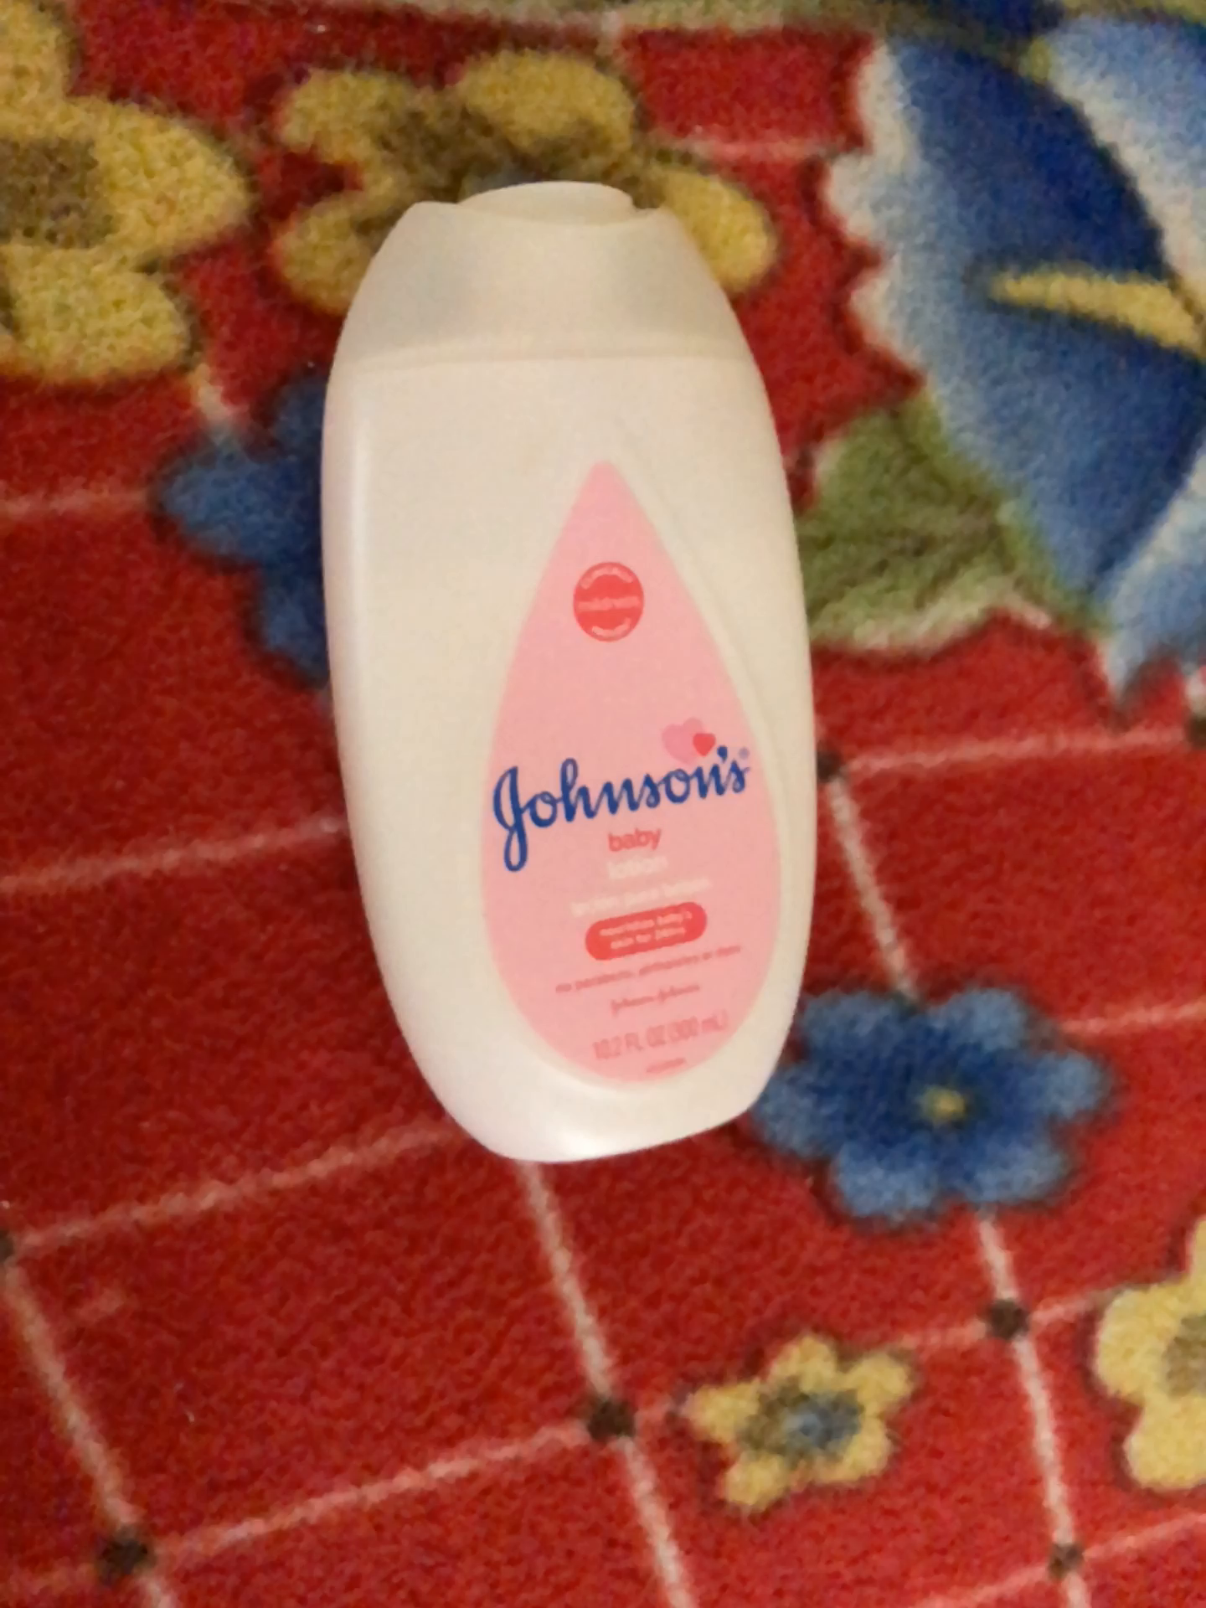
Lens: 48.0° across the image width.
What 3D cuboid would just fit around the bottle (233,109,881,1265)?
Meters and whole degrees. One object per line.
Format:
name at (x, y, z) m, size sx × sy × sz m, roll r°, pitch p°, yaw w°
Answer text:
bottle at (-0.007, -0.021, 0.225) m, size 0.080 × 0.030 × 0.170 m, roll -9°, pitch 93°, yaw -19°
